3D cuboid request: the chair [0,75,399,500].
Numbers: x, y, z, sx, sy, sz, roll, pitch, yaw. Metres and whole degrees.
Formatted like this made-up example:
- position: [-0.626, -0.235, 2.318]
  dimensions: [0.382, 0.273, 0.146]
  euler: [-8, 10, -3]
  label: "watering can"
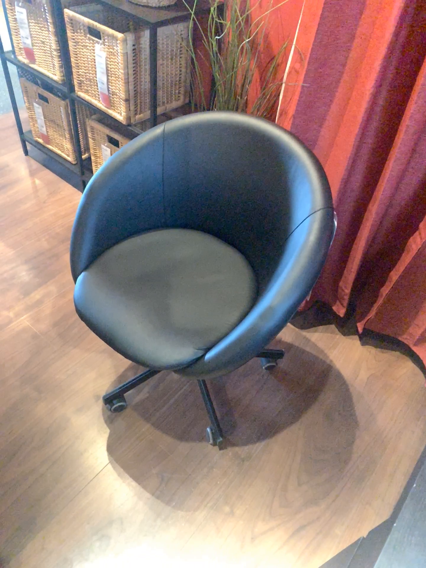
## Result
- position: [-0.063, -0.005, 1.235]
  dimensions: [0.671, 0.757, 0.672]
  euler: [33, 53, 21]
  label: "chair"
